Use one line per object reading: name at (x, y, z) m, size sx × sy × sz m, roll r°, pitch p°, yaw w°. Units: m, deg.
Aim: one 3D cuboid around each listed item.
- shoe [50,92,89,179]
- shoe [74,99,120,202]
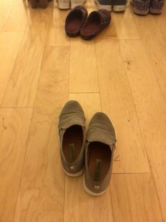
shoe at (-0.036, 0.065, 0.571) m, size 0.100 × 0.070 × 0.272 m, roll 0°, pitch 53°, yaw -1°
shoe at (0.051, 0.105, 0.552) m, size 0.110 × 0.080 × 0.292 m, roll 6°, pitch 53°, yaw 4°
